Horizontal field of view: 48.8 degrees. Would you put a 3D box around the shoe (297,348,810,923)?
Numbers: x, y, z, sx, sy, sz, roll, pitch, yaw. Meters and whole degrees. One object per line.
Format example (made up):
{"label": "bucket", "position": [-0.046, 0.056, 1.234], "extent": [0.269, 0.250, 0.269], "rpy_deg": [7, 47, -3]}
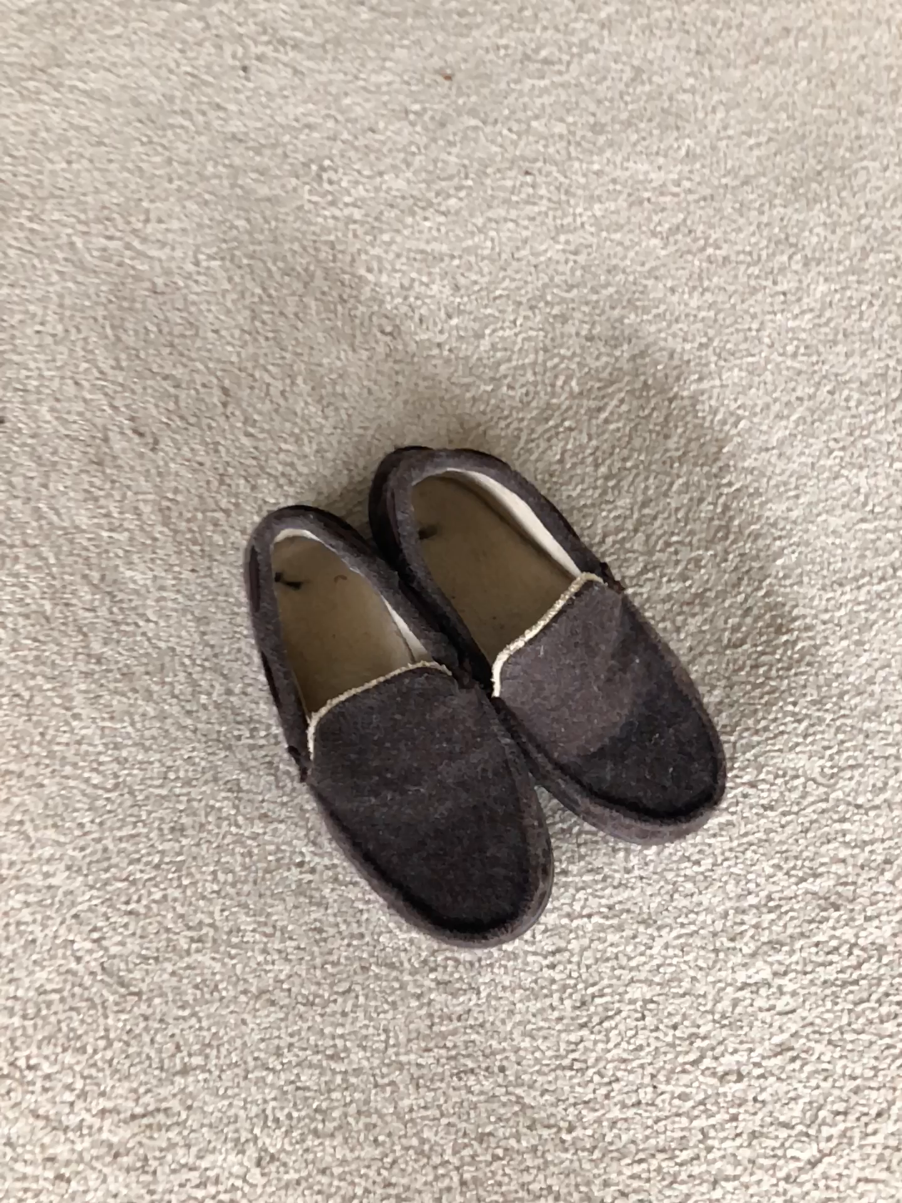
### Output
{"label": "shoe", "position": [0.051, 0.019, 0.600], "extent": [0.119, 0.096, 0.316], "rpy_deg": [-35, 80, -8]}

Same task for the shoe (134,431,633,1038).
{"label": "shoe", "position": [-0.043, 0.072, 0.590], "extent": [0.120, 0.096, 0.317], "rpy_deg": [-33, 79, -8]}
